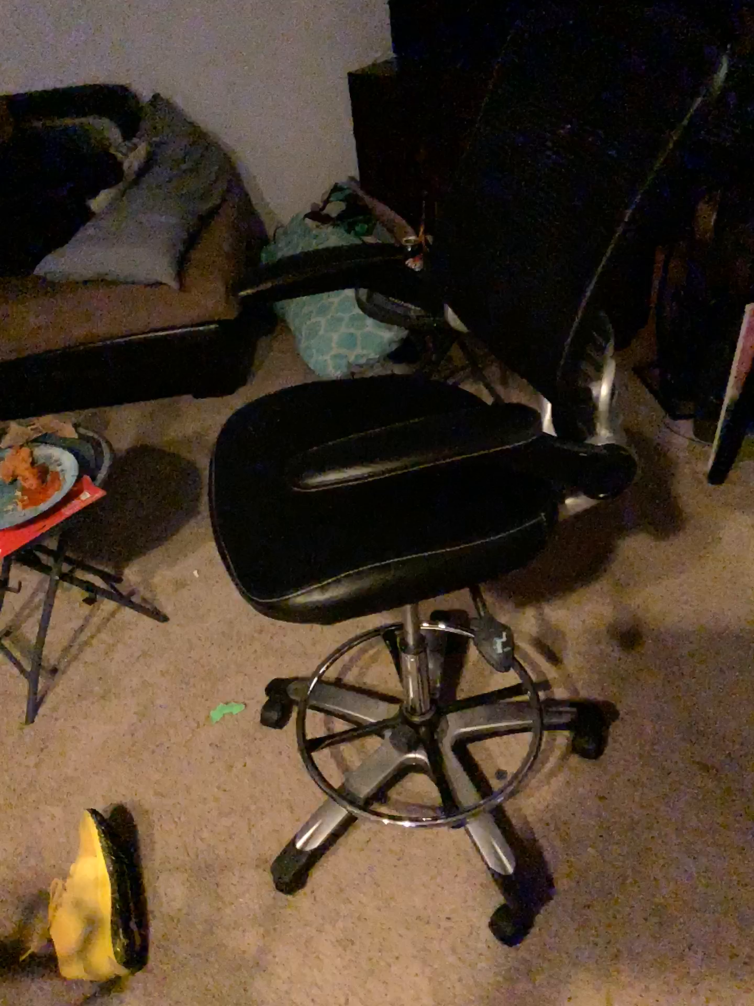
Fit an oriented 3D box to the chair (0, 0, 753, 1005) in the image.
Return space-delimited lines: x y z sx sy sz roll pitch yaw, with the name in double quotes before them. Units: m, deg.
"chair" 0.066 -0.009 1.171 0.700 1.120 0.780 -13 38 -8
